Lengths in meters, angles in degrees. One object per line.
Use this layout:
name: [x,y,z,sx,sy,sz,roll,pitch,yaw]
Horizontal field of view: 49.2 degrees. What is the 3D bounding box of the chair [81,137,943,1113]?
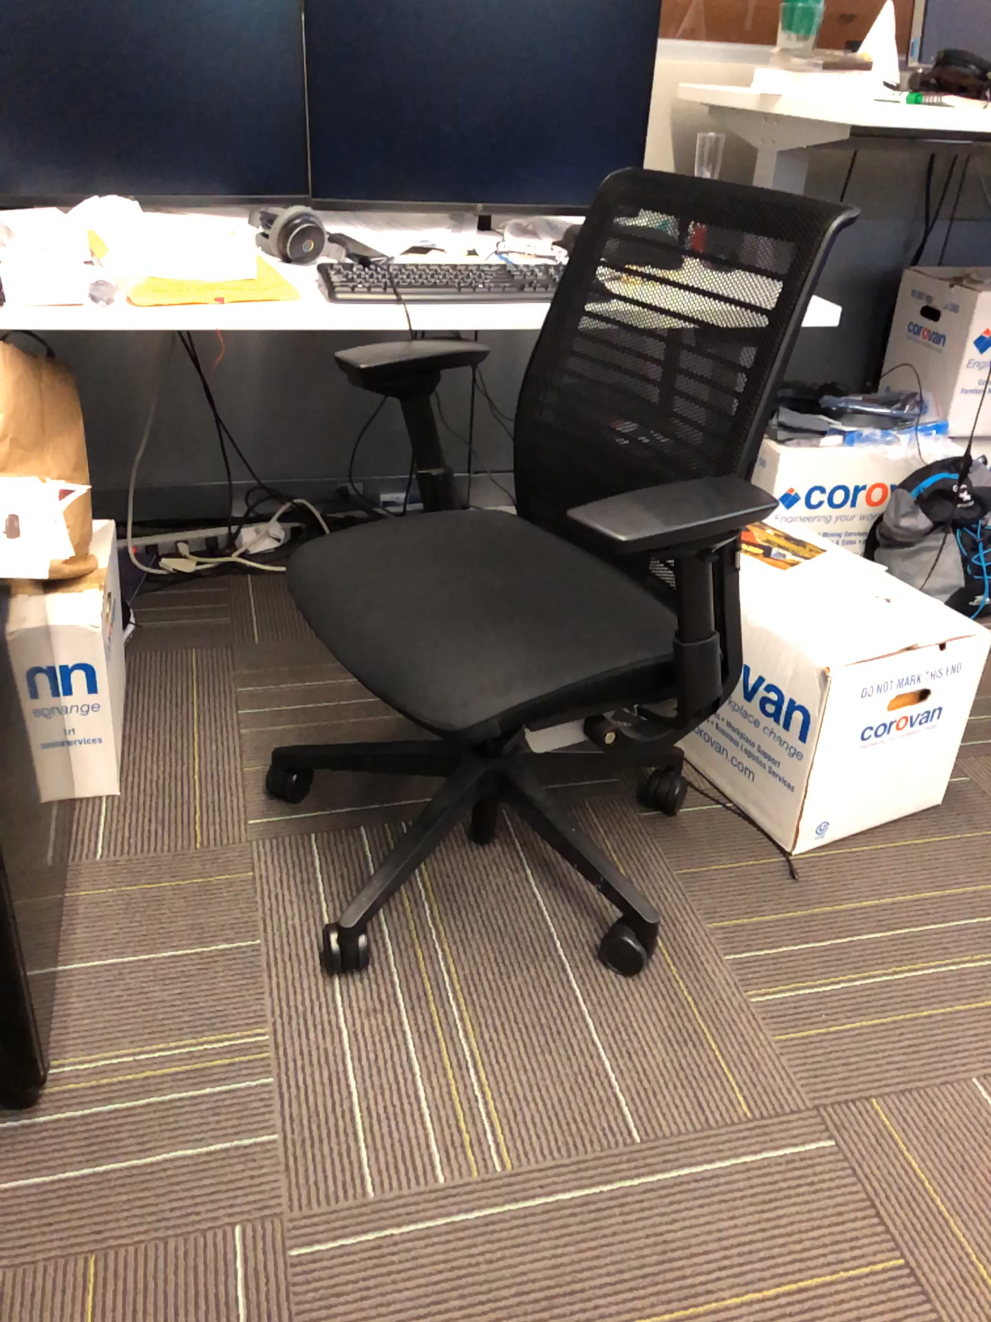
chair: [-0.049,-0.143,1.515,0.701,0.994,0.783,-15,34,-30]
